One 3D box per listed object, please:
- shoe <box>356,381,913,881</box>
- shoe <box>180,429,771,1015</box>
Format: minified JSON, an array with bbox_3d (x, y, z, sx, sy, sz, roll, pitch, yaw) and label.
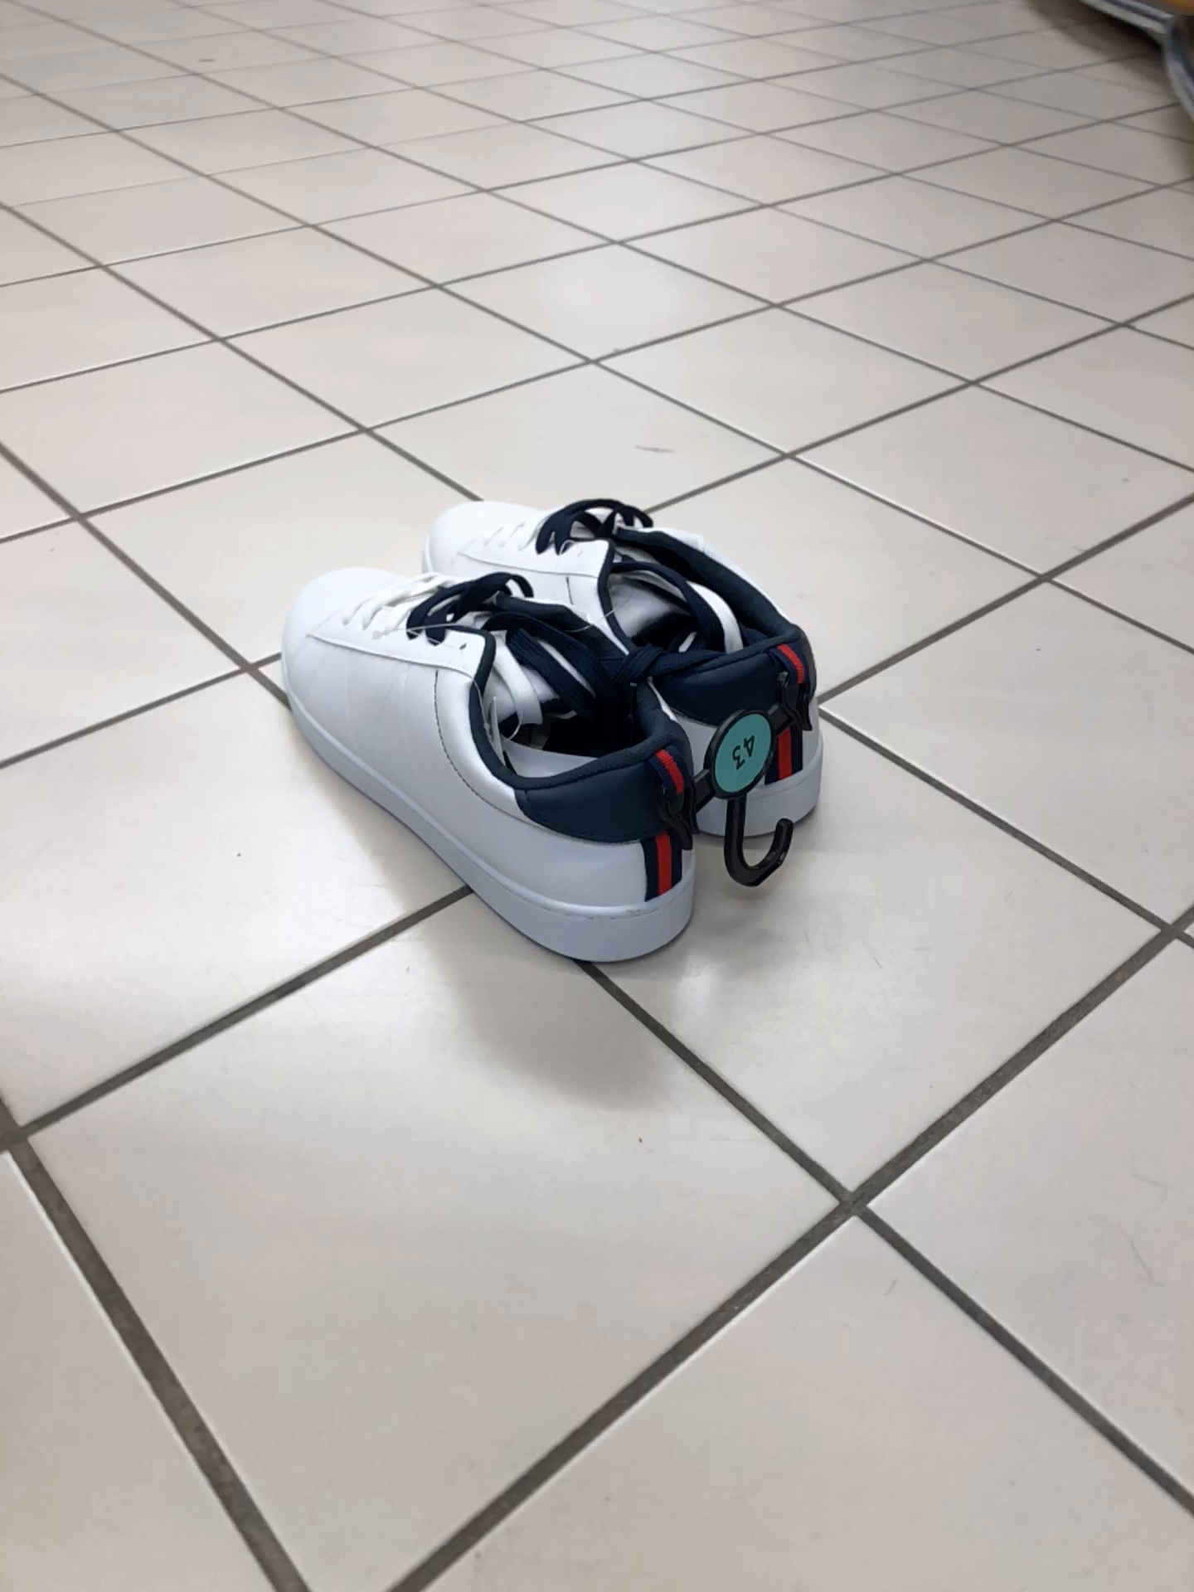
[{"bbox_3d":[0.003,-0.096,0.642,0.100,0.099,0.290,-25,46,-29],"label":"shoe"},{"bbox_3d":[-0.065,-0.050,0.573,0.100,0.099,0.290,-25,46,-29],"label":"shoe"}]
